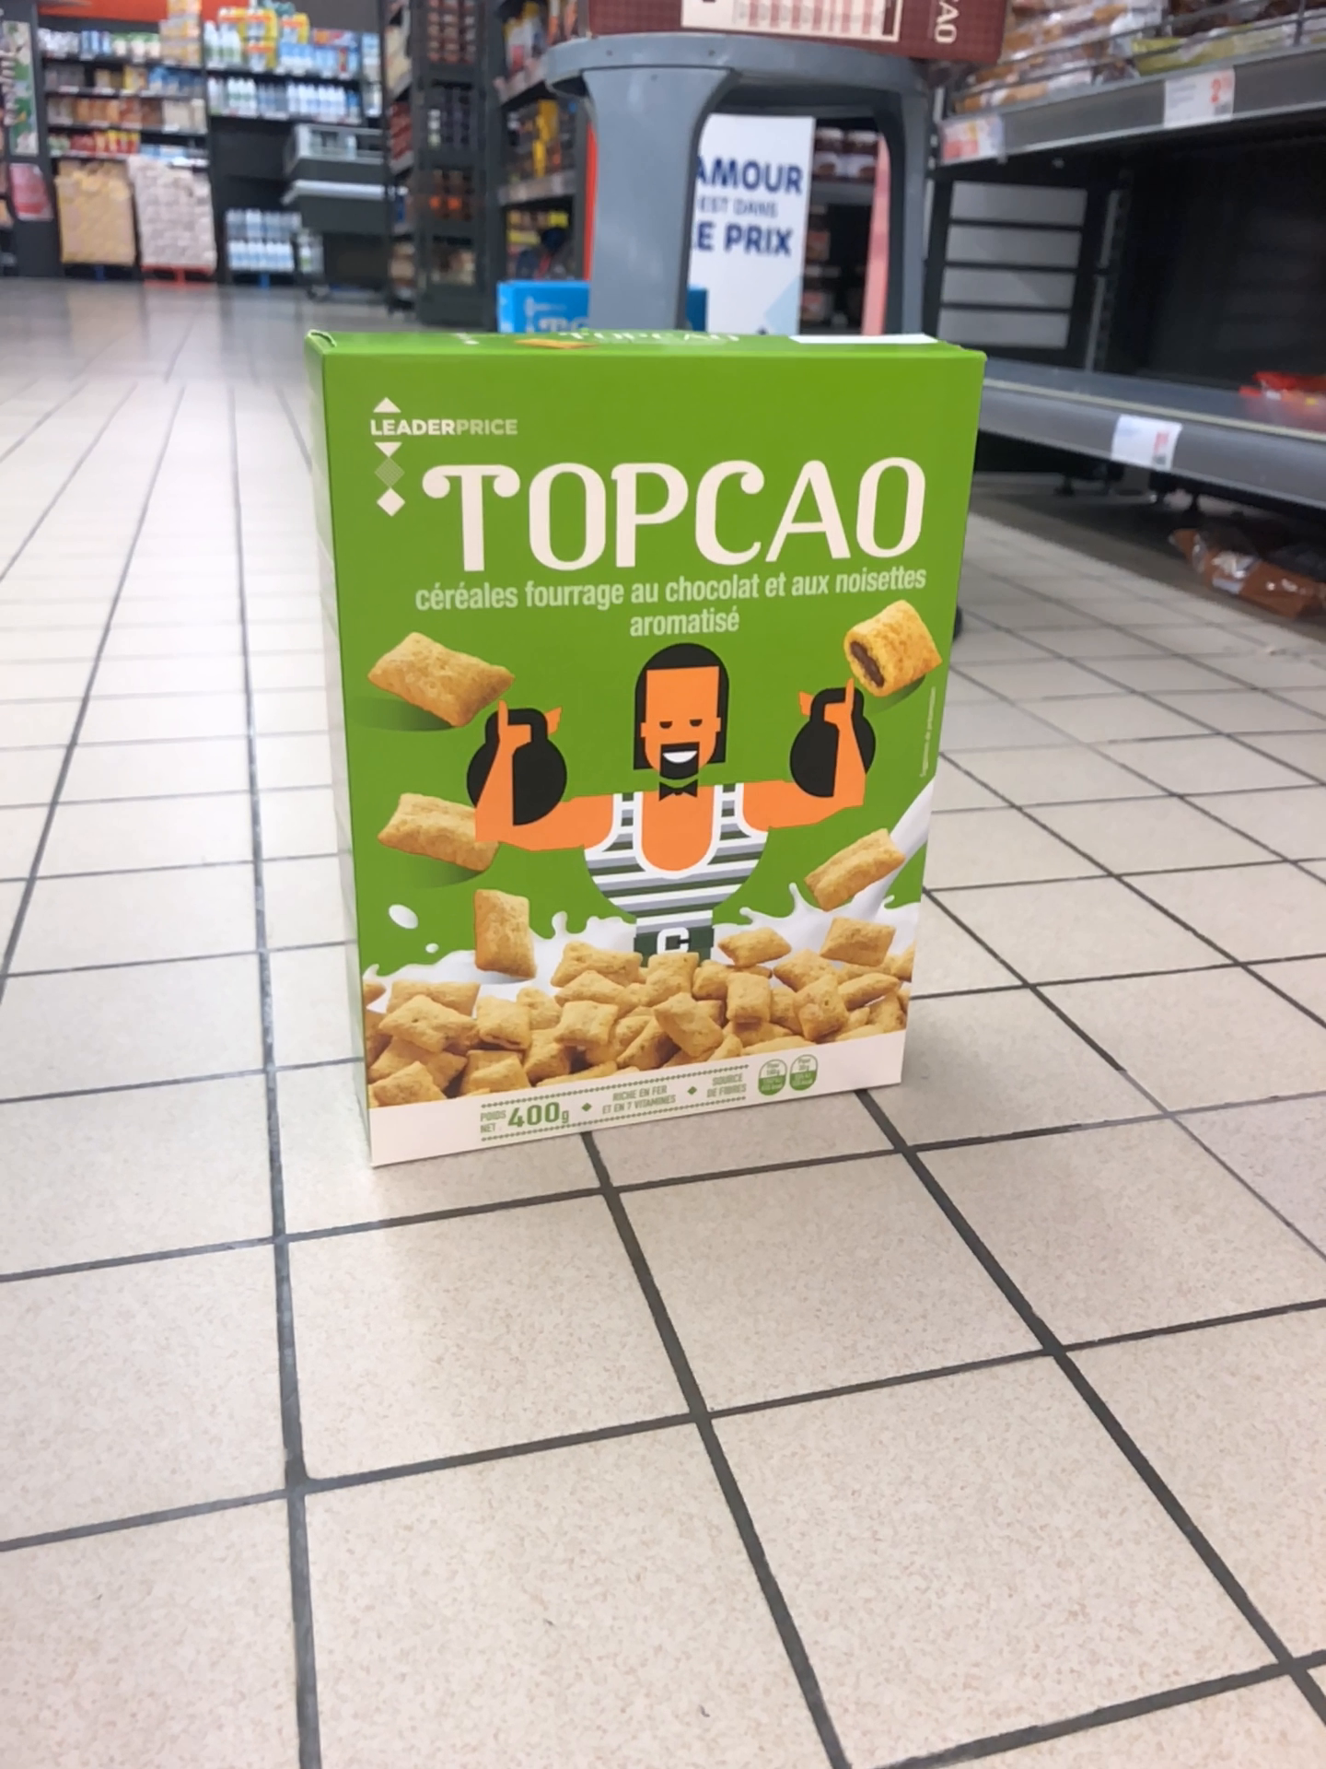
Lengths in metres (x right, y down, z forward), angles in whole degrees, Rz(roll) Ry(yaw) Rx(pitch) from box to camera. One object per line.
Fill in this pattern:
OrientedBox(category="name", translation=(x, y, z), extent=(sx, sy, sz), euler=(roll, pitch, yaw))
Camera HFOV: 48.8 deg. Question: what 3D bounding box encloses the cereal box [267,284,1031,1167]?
OrientedBox(category="cereal box", translation=(-0.007, -0.048, 0.453), extent=(0.200, 0.249, 0.060), euler=(-6, 26, -16))
